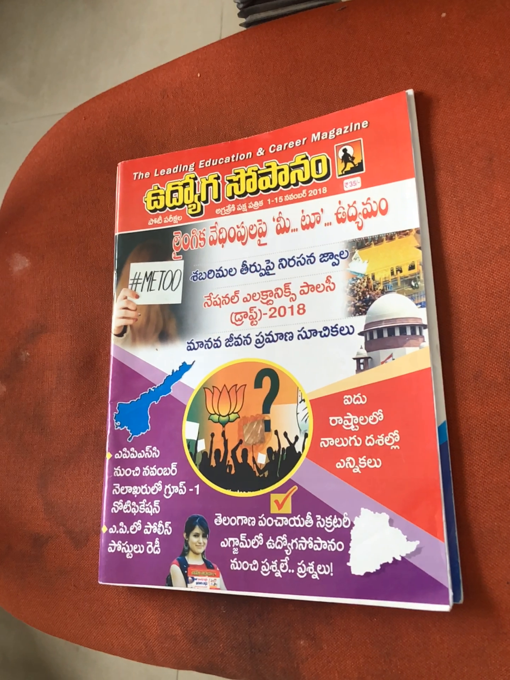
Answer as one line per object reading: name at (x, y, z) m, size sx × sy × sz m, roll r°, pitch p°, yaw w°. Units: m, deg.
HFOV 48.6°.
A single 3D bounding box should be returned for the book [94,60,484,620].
book at (0.008, -0.002, 0.350) m, size 0.218 × 0.040 × 0.295 m, roll -7°, pitch 75°, yaw 24°
